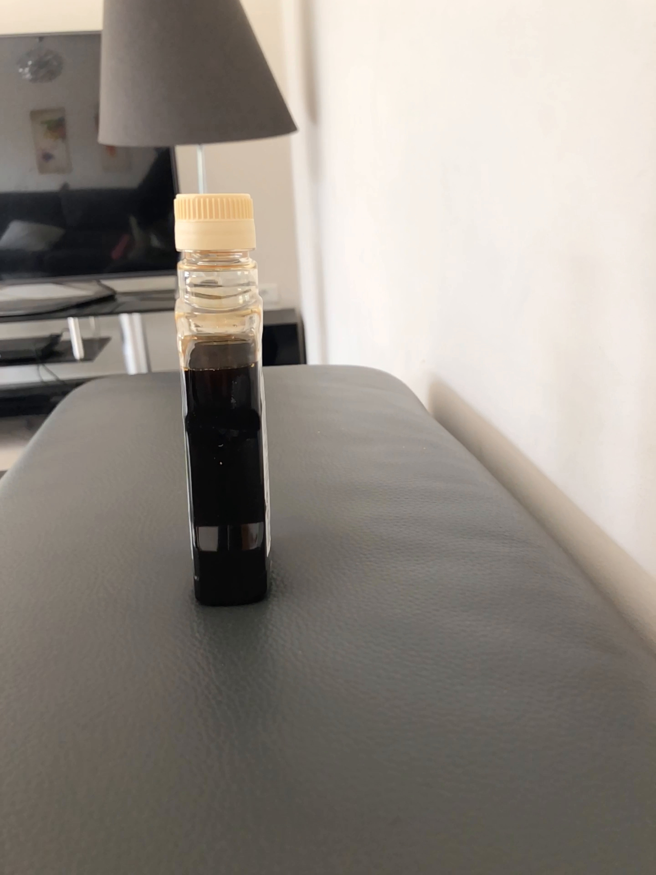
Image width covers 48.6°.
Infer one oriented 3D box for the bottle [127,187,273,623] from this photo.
[{"bbox_3d":[-0.047,-0.016,0.291,0.040,0.159,0.070,-3,19,-6],"label":"bottle"}]
